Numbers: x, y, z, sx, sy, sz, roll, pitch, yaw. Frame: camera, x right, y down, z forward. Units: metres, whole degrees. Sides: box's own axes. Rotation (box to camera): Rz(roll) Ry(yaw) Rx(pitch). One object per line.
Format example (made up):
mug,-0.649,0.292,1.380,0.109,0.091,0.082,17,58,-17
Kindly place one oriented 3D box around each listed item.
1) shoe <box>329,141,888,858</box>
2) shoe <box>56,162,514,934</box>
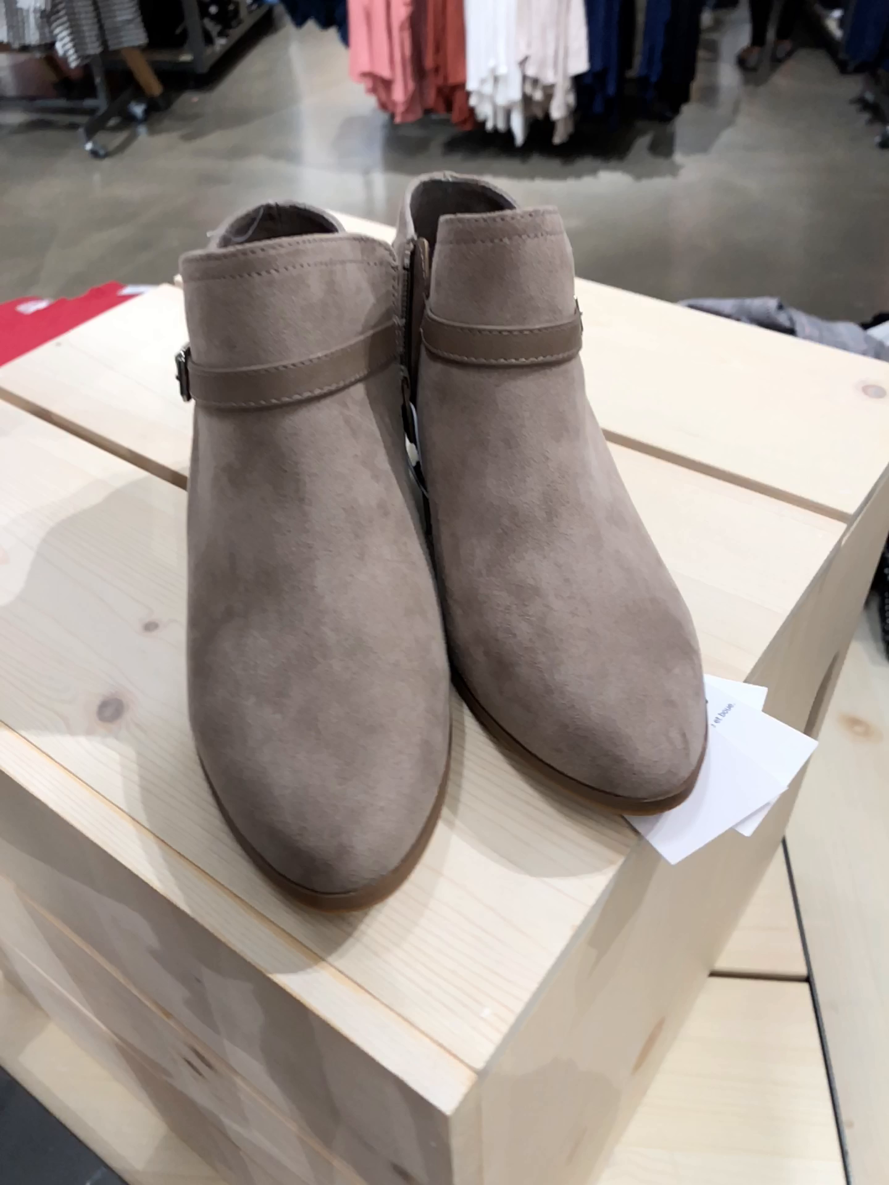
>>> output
shoe,0.029,-0.054,0.343,0.090,0.110,0.251,-10,43,-9
shoe,-0.048,-0.038,0.324,0.090,0.110,0.251,-7,42,-5
